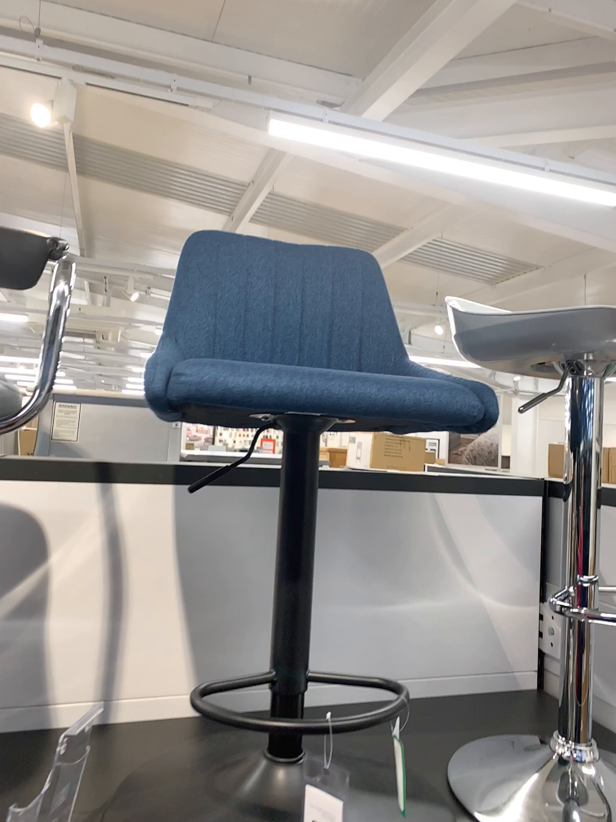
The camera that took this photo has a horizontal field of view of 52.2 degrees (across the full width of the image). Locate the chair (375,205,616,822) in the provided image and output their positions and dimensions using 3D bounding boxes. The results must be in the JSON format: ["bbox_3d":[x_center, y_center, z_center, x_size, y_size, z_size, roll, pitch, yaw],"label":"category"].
[{"bbox_3d":[0.387,0.167,0.930,0.409,0.763,0.387,5,-4,-18],"label":"chair"}]

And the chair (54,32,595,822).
[{"bbox_3d":[-0.014,0.103,0.887,0.538,0.873,0.507,5,-4,-18],"label":"chair"}]
